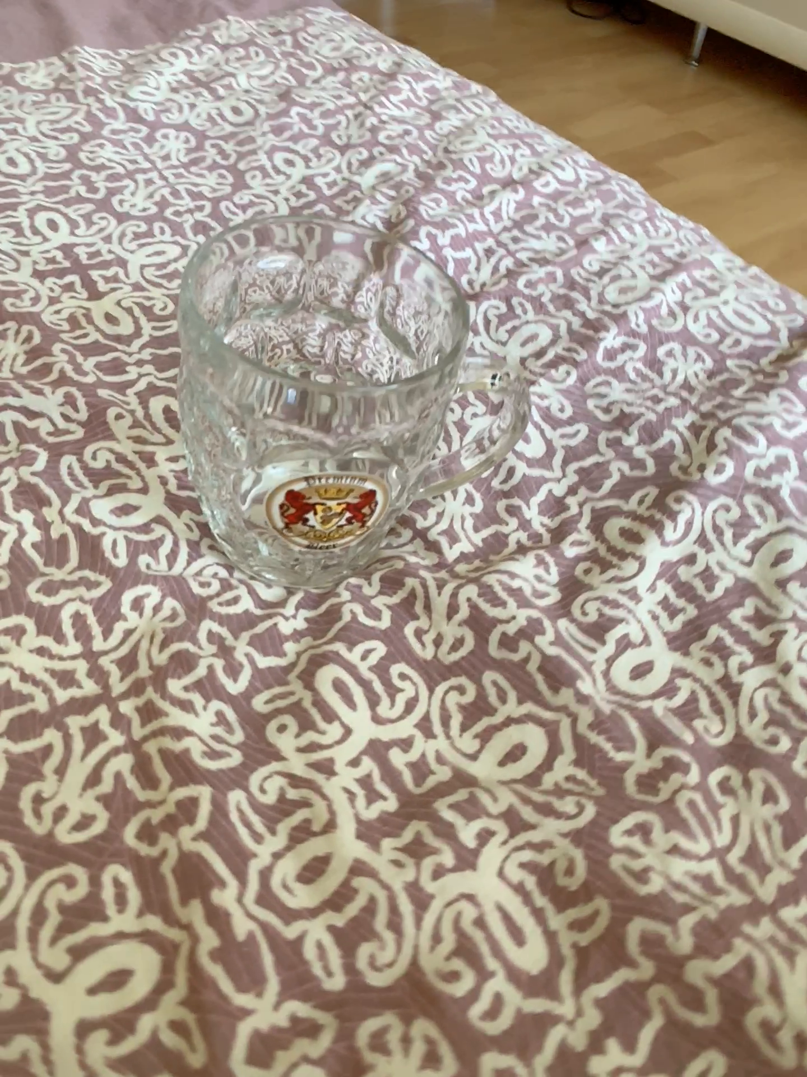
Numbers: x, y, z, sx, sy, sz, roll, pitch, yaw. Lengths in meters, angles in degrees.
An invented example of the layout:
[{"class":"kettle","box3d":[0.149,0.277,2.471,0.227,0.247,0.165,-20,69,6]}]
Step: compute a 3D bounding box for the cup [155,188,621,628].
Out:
[{"class":"cup","box3d":[-0.014,-0.040,0.279,0.120,0.109,0.091,-3,55,-11]}]
